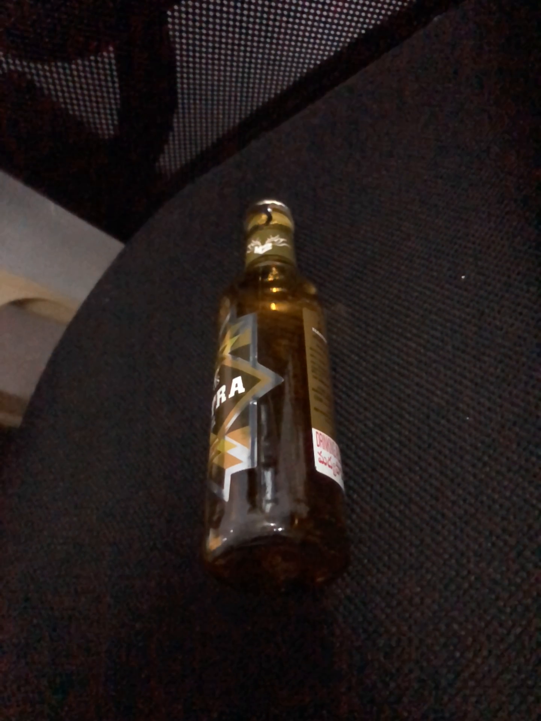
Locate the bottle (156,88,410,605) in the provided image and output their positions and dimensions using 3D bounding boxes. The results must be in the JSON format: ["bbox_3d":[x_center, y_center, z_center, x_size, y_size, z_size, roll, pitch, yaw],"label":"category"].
[{"bbox_3d":[-0.007,-0.018,0.281,0.070,0.060,0.231,-33,48,34],"label":"bottle"}]
